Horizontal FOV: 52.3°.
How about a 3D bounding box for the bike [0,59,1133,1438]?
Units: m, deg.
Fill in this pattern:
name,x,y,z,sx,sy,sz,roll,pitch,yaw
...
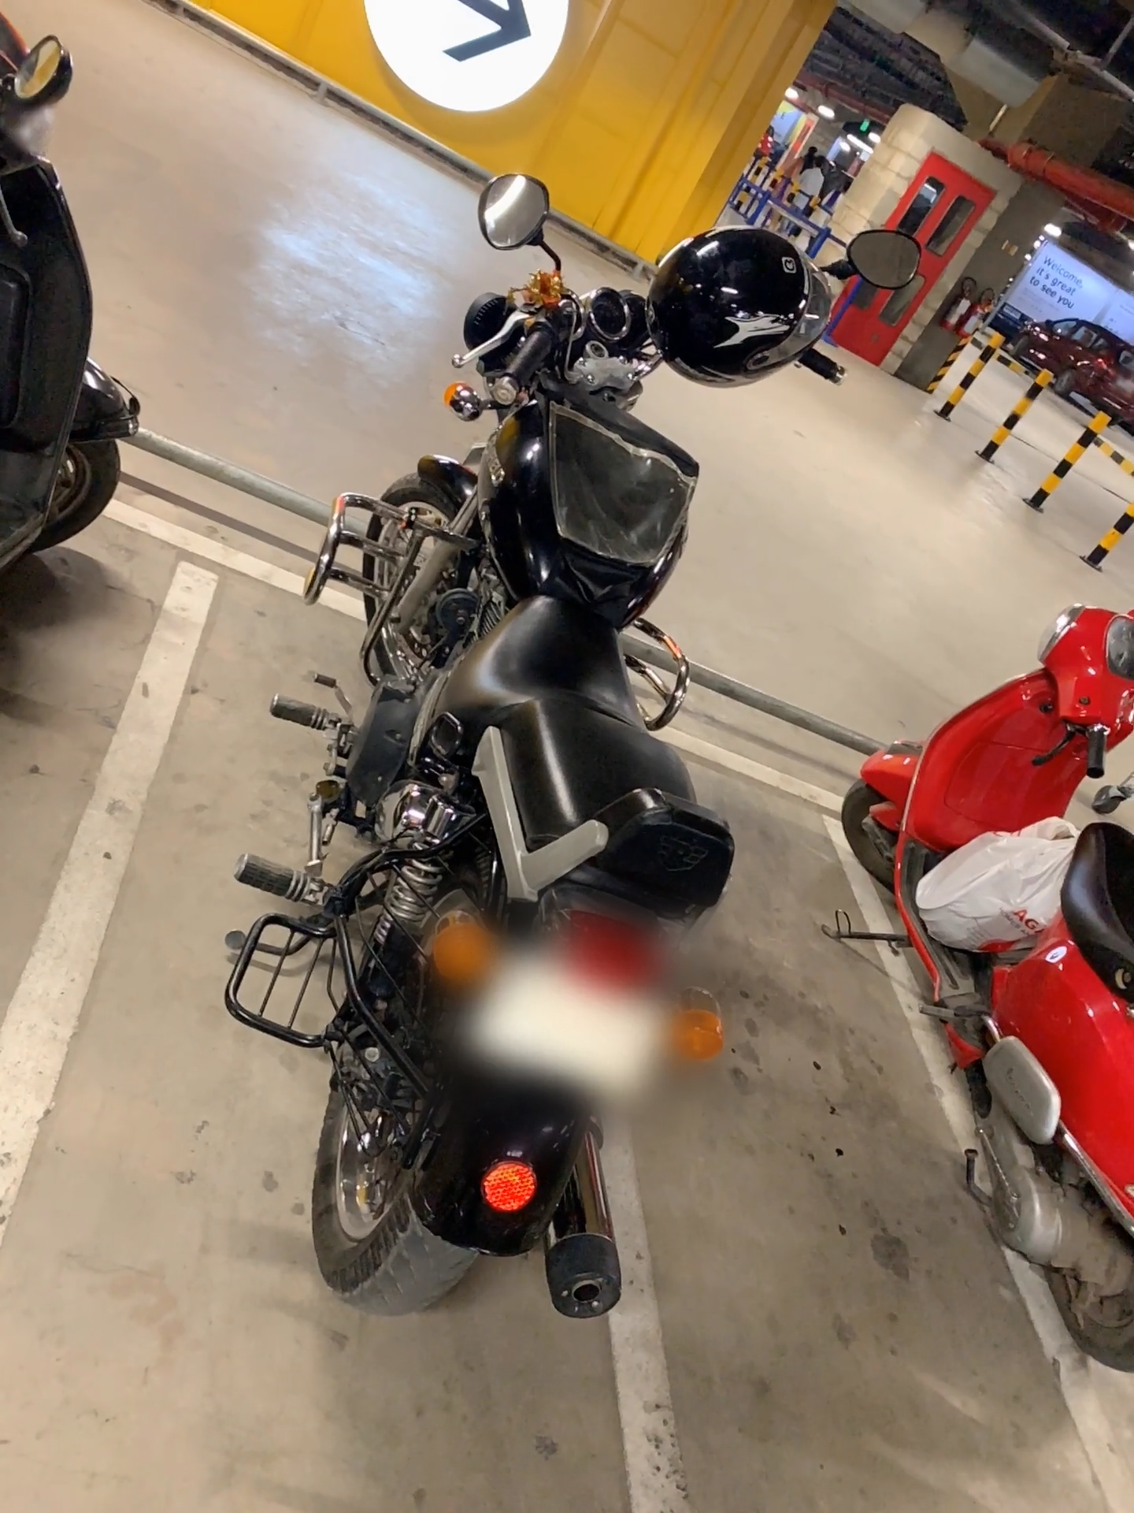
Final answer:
name,x,y,z,sx,sy,sz,roll,pitch,yaw
bike,-0.185,-0.249,2.041,0.829,1.228,2.084,19,31,-23
